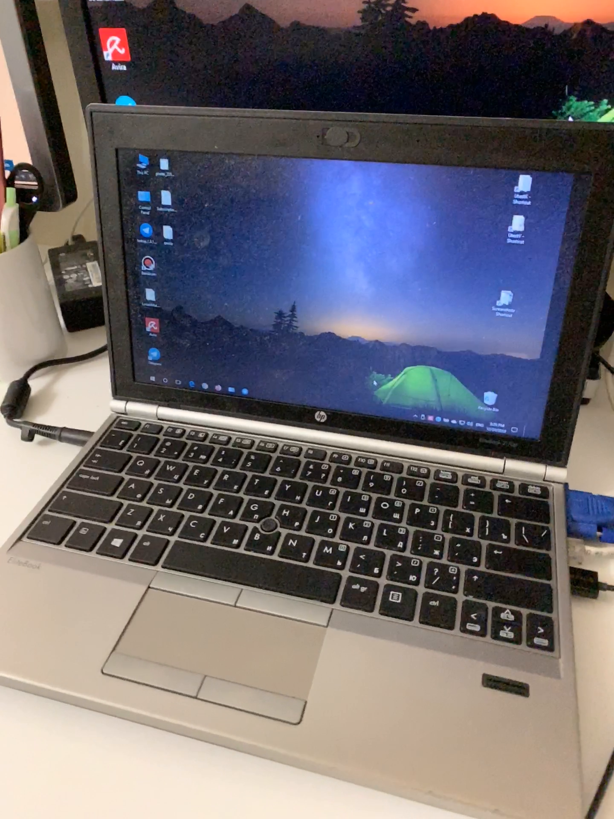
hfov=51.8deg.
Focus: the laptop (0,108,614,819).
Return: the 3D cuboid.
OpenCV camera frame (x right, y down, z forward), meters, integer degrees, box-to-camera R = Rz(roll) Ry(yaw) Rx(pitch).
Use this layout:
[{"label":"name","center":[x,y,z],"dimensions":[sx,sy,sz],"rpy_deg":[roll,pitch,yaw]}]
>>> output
[{"label":"laptop","center":[-0.011,-0.010,0.286],"dimensions":[0.284,0.175,0.227],"rpy_deg":[8,39,13]}]
